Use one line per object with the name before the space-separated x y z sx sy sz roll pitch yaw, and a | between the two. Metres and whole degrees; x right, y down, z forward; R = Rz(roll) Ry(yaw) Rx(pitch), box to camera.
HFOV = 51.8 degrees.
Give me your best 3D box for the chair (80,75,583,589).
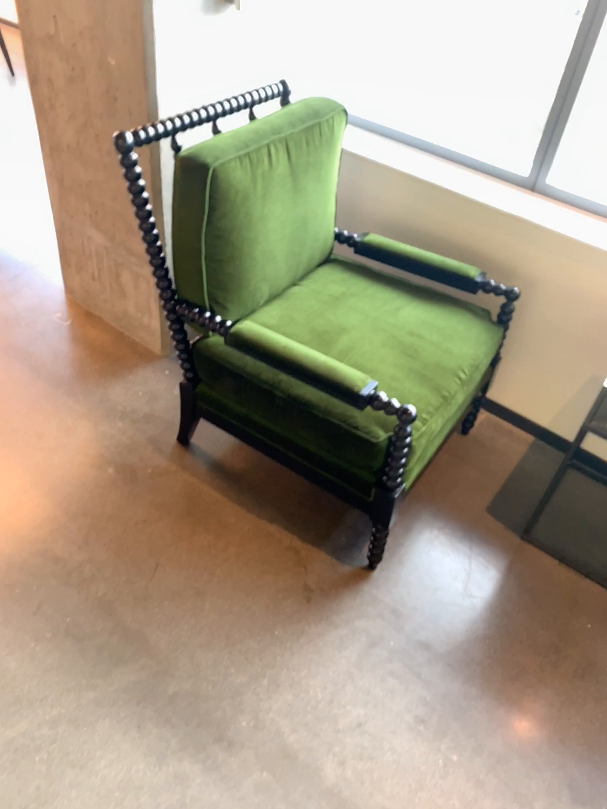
chair | 0.069 -0.262 1.802 0.912 0.924 0.844 27 45 20
